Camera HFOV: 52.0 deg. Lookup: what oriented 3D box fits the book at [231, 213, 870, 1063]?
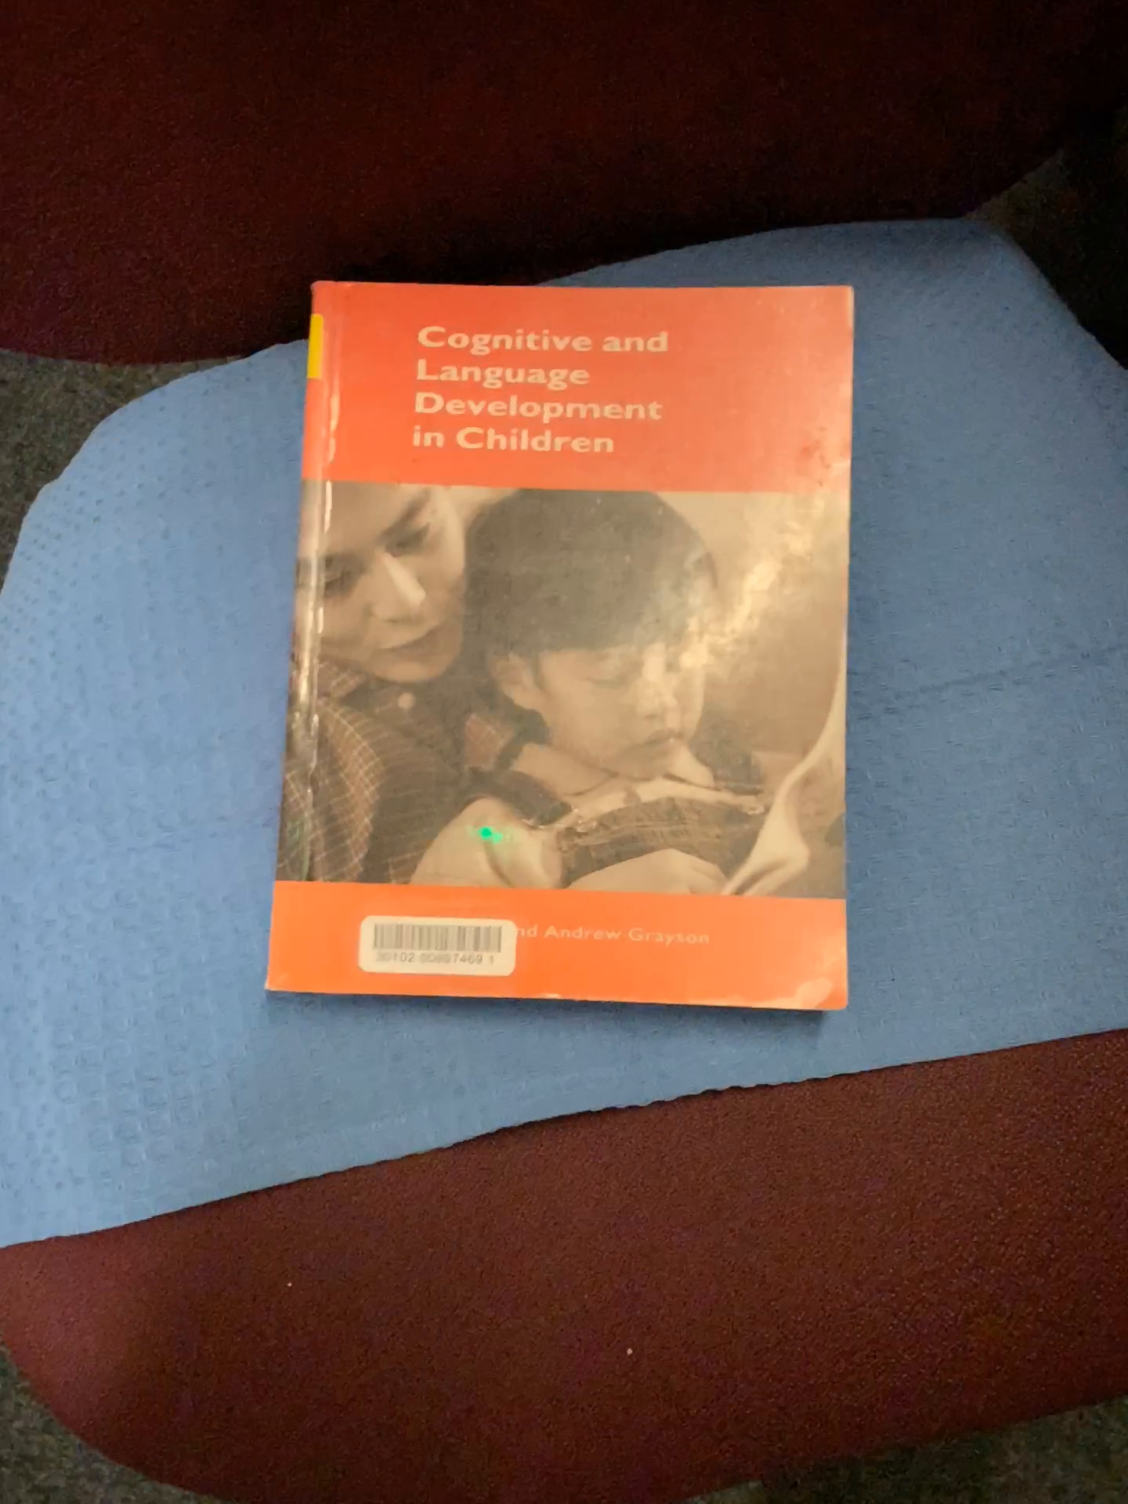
[{"bbox_3d":[-0.001,-0.039,0.402,0.200,0.060,0.270,1,84,6],"label":"book"}]
